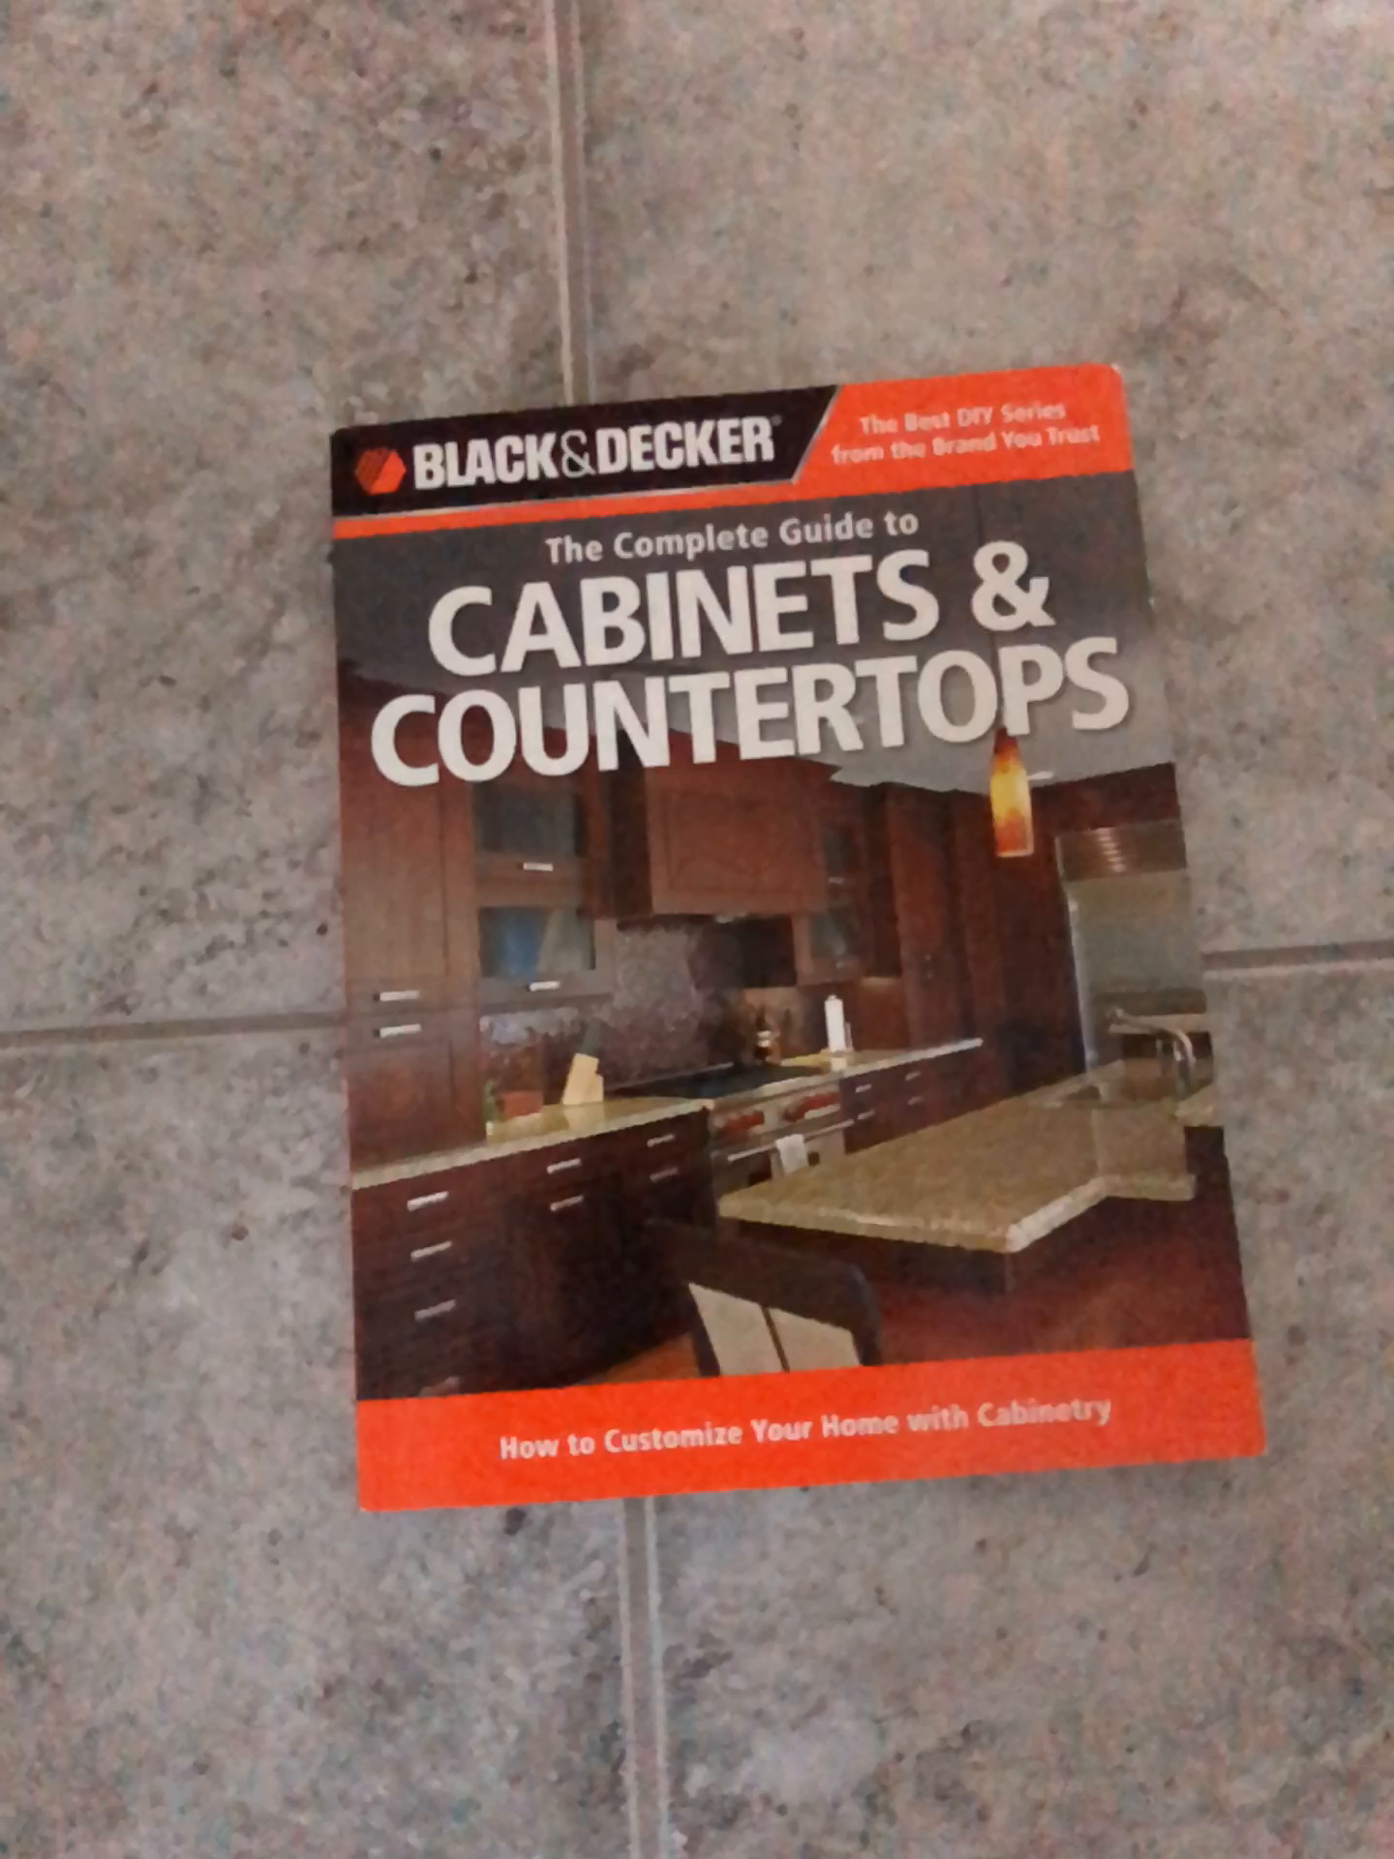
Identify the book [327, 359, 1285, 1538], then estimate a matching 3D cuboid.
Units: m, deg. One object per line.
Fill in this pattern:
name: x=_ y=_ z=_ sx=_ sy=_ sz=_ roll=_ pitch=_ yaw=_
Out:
book: x=0.018 y=-0.002 z=0.394 sx=0.215 sy=0.023 sz=0.281 roll=-4 pitch=79 yaw=2
